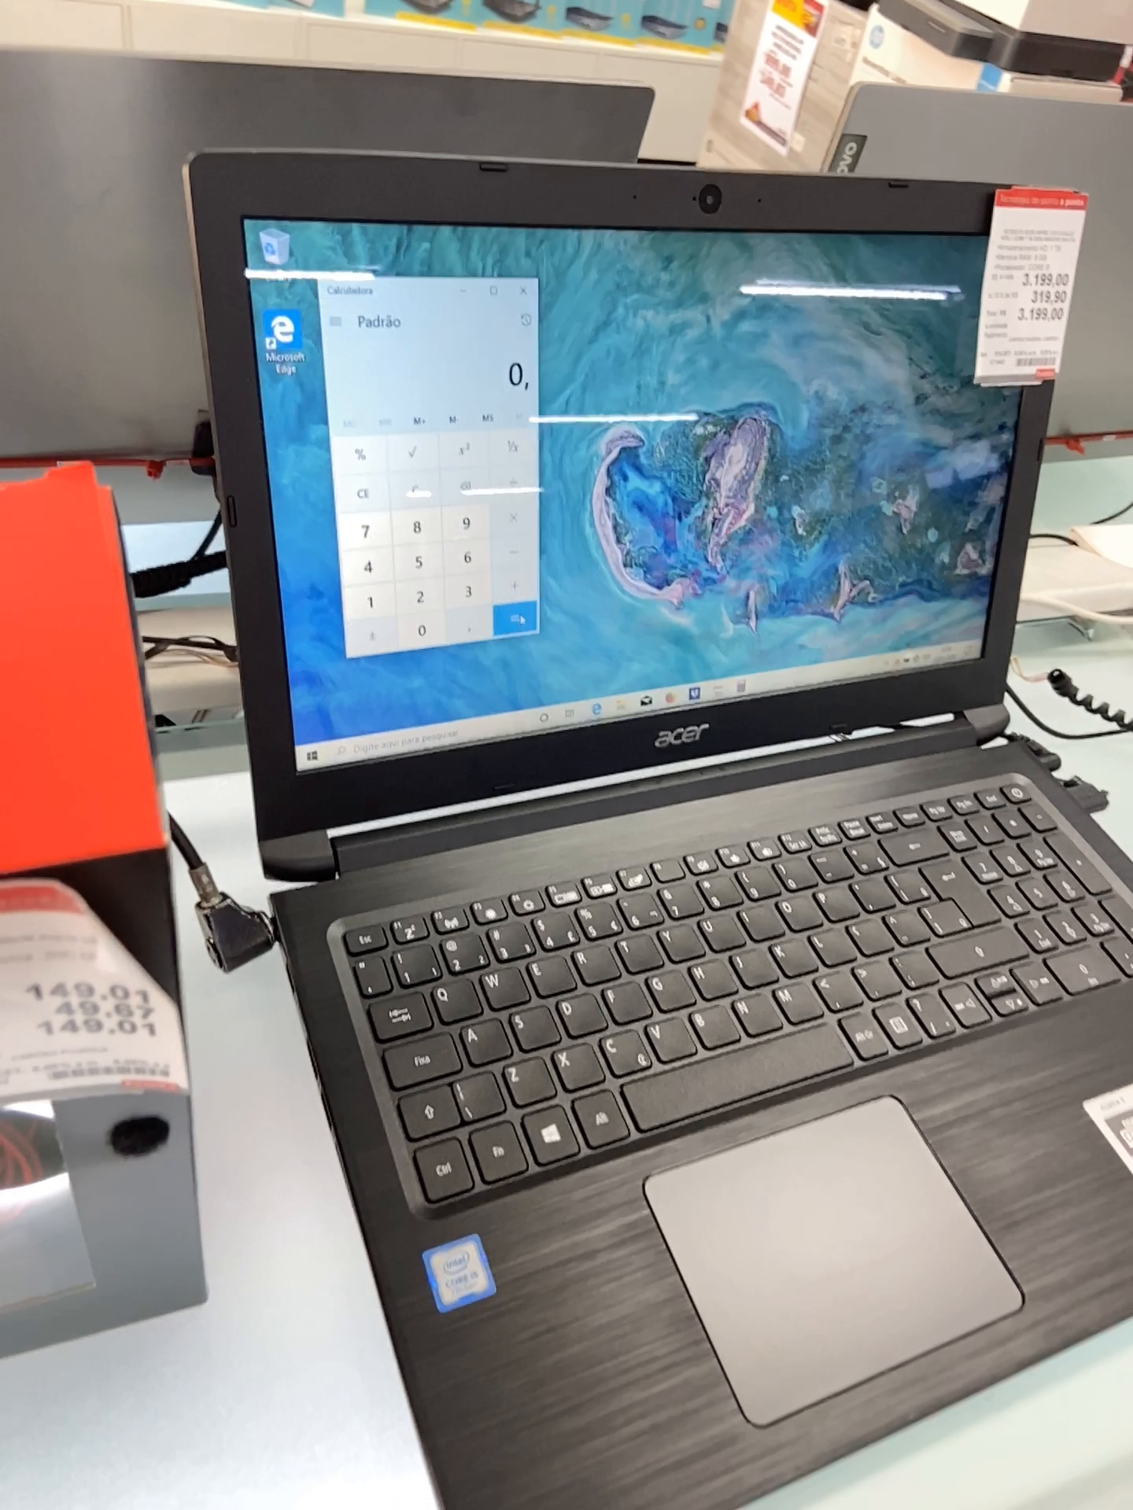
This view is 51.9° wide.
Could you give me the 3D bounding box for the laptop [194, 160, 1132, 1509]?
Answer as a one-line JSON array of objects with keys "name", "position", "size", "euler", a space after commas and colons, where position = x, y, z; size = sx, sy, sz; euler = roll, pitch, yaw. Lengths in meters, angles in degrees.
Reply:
[{"name": "laptop", "position": [0.100, -0.015, 0.402], "size": [0.375, 0.227, 0.354], "euler": [-10, 48, -22]}]
